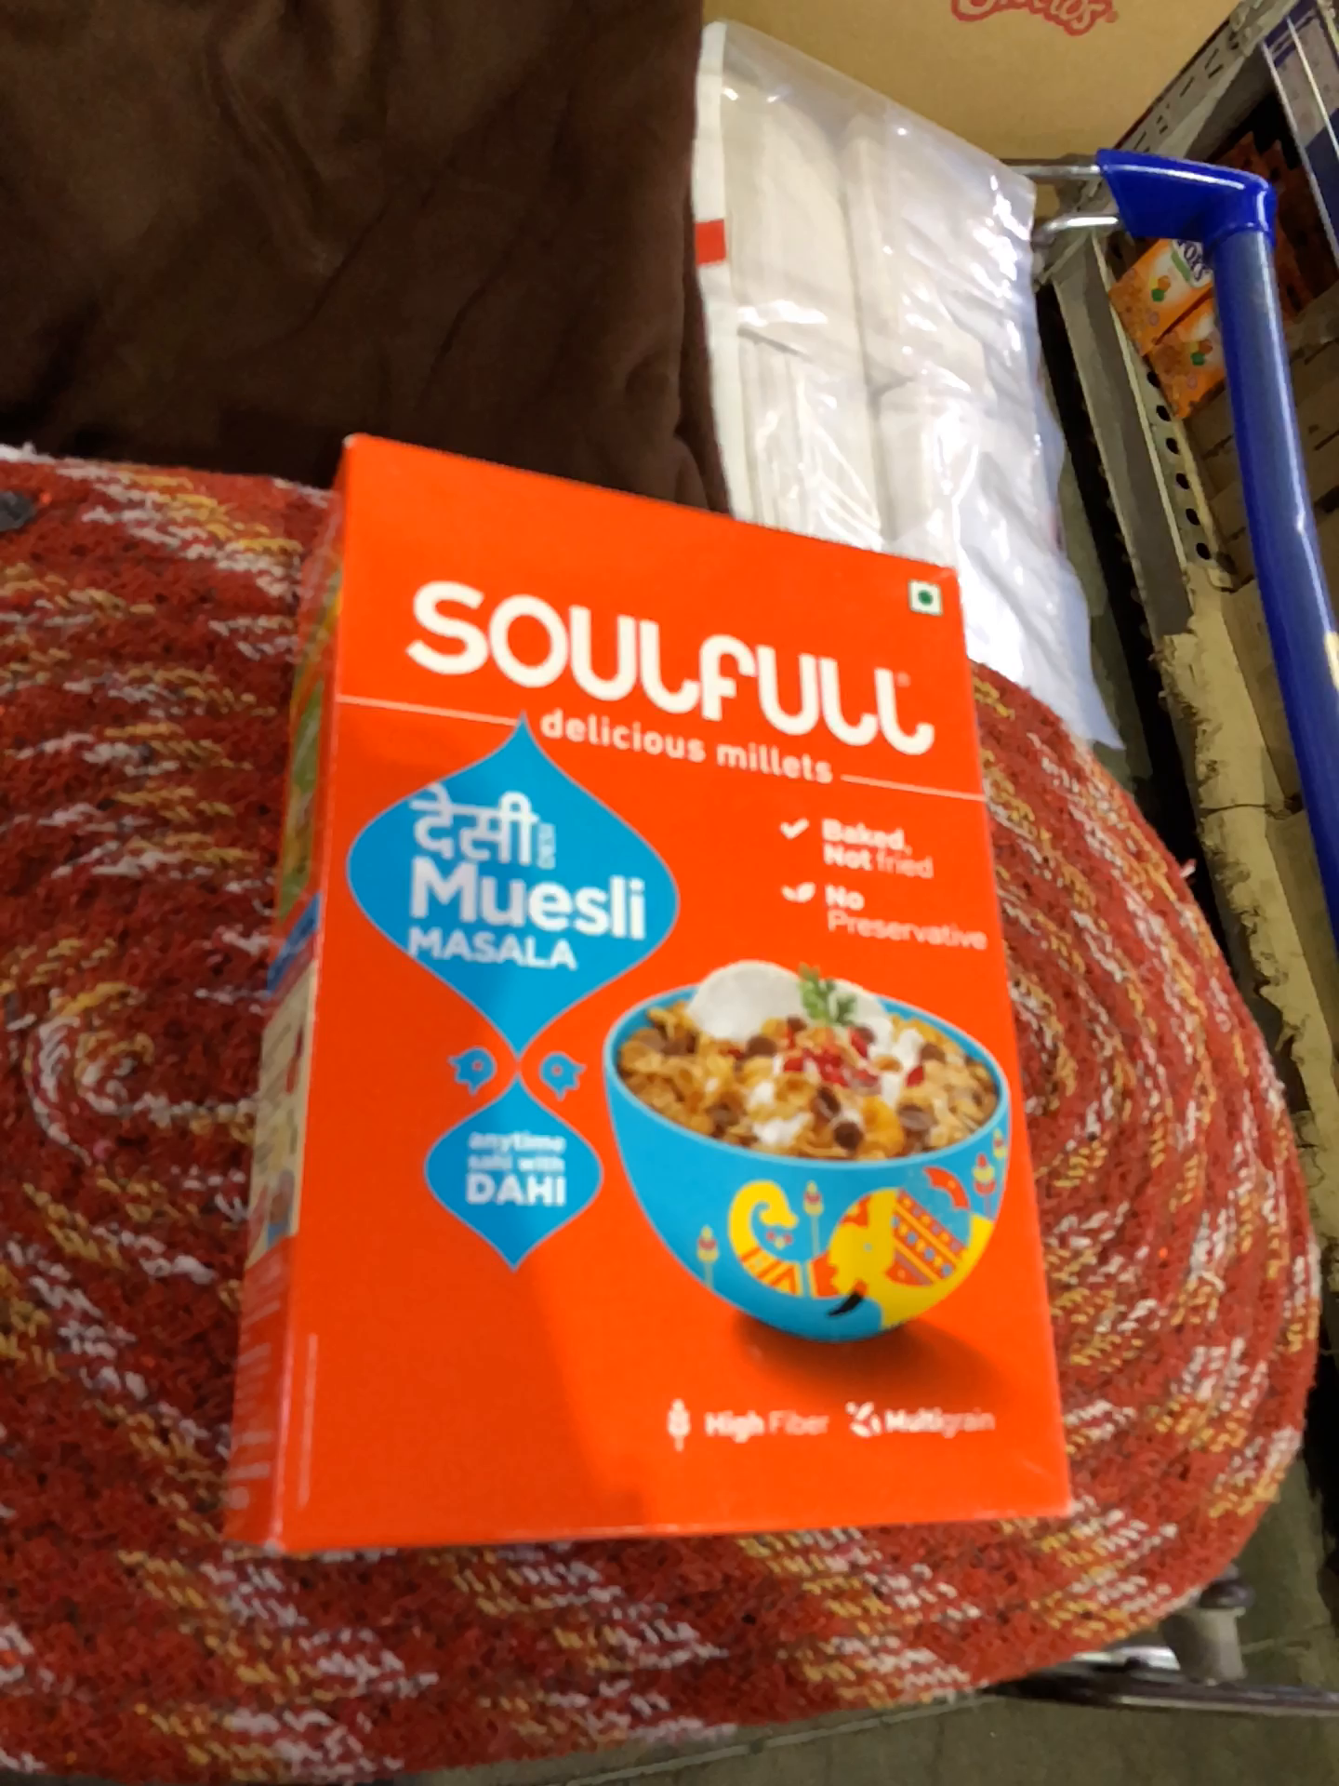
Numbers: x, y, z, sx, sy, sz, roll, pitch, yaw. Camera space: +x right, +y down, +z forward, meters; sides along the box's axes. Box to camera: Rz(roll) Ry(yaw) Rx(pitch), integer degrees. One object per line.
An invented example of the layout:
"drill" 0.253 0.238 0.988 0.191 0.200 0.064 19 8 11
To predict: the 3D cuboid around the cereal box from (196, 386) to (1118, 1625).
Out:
"cereal box" -0.007 0.021 0.350 0.180 0.060 0.261 6 66 -20
